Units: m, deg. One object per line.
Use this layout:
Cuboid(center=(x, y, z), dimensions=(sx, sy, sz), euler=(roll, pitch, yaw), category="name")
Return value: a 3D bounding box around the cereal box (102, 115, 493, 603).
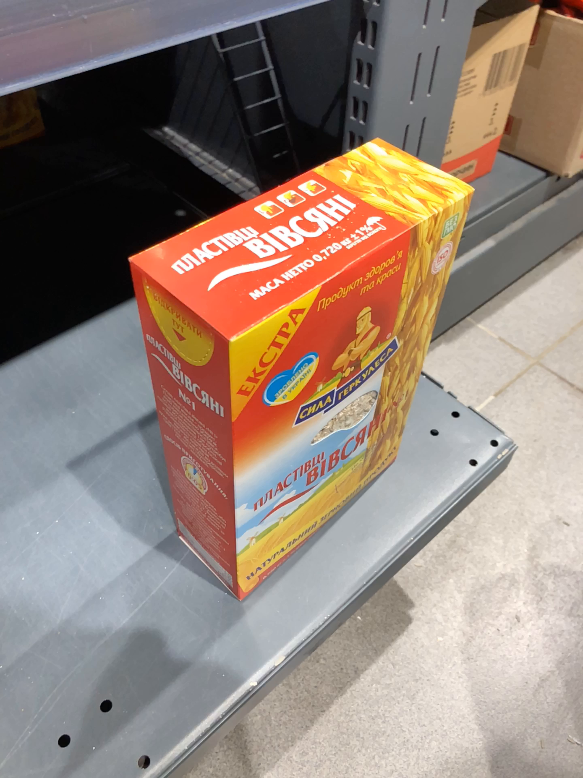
Cuboid(center=(0.006, -0.008, 0.346), dimensions=(0.161, 0.208, 0.070), euler=(-35, 58, -29), category="cereal box")
